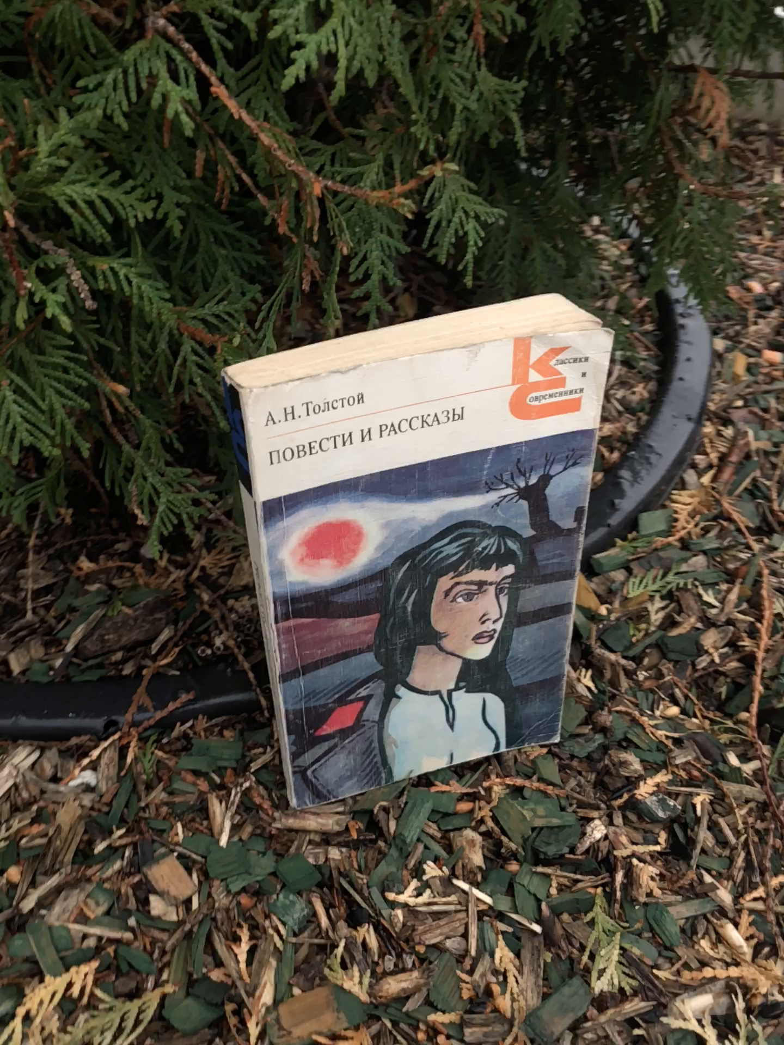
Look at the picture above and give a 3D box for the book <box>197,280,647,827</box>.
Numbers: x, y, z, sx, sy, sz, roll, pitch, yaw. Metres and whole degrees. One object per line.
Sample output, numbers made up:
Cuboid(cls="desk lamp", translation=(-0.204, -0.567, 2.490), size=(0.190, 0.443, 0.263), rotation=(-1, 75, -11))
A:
Cuboid(cls="book", translation=(0.013, 0.021, 0.323), size=(0.130, 0.196, 0.041), rotation=(-12, 39, -12))
